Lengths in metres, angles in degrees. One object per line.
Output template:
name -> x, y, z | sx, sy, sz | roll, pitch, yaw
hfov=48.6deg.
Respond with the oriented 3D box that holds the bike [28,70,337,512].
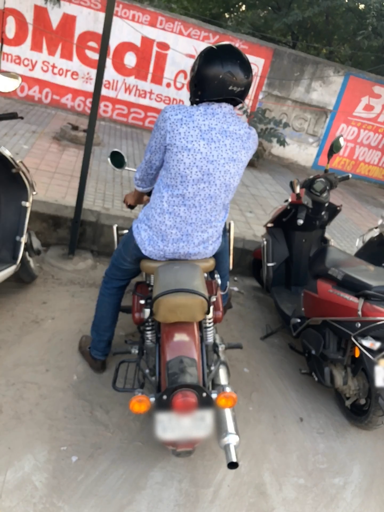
bike -> -0.167, 0.021, 2.110 | 0.792, 1.256, 1.558 | 10, 30, -12
